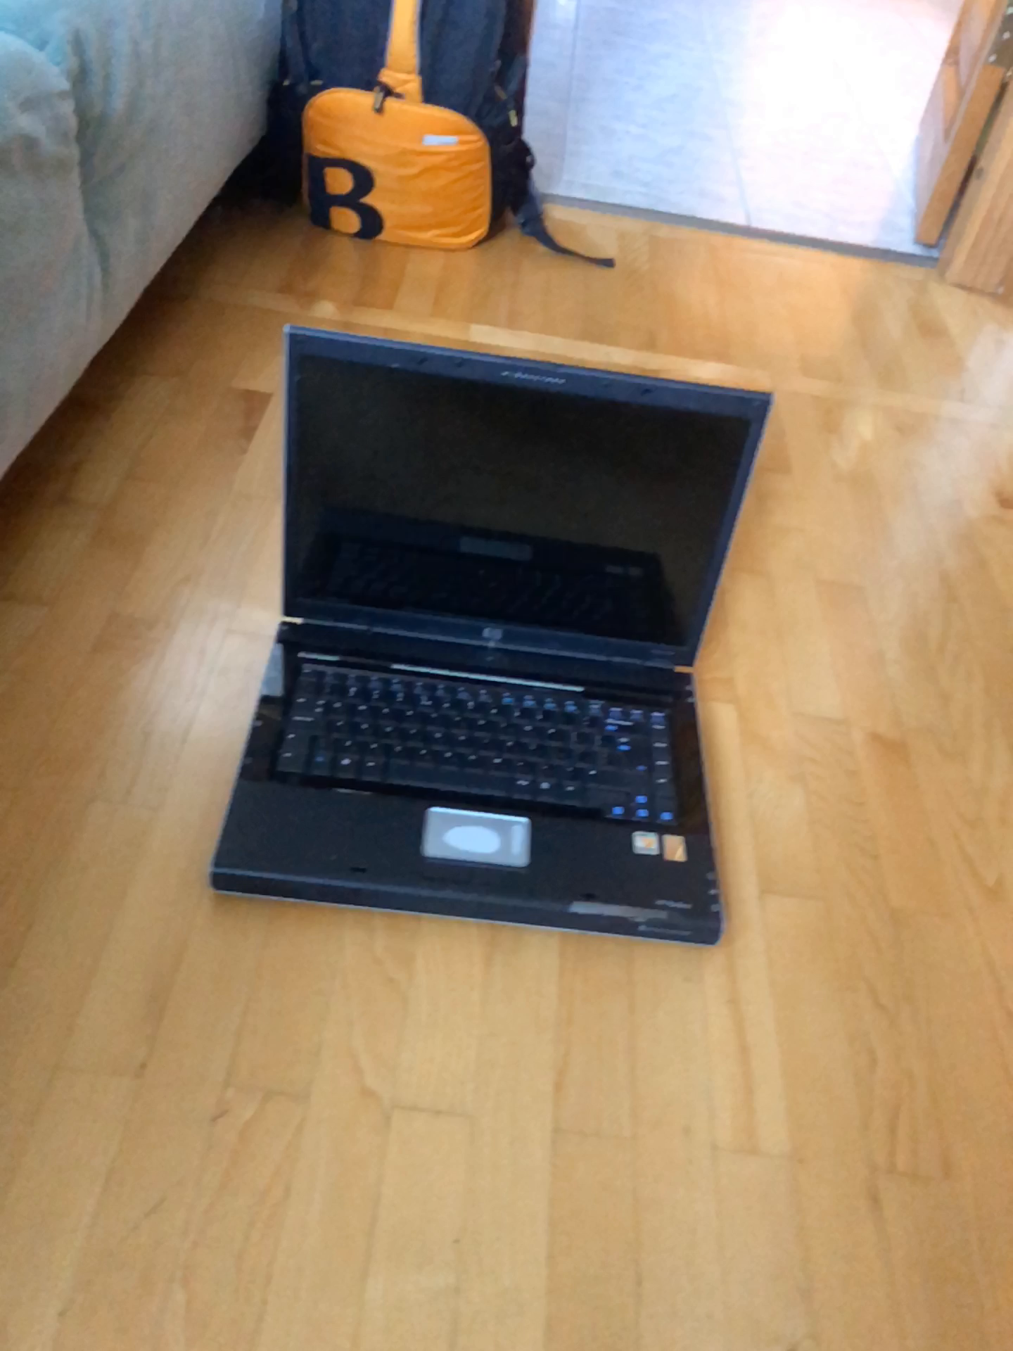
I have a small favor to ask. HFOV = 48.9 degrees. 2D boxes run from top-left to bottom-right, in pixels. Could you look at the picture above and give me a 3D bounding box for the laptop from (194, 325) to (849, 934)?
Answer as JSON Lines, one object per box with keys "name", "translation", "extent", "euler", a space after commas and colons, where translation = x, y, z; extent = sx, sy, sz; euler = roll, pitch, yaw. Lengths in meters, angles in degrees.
{"name": "laptop", "translation": [0.001, -0.037, 0.807], "extent": [0.363, 0.254, 0.308], "euler": [7, 43, -4]}
